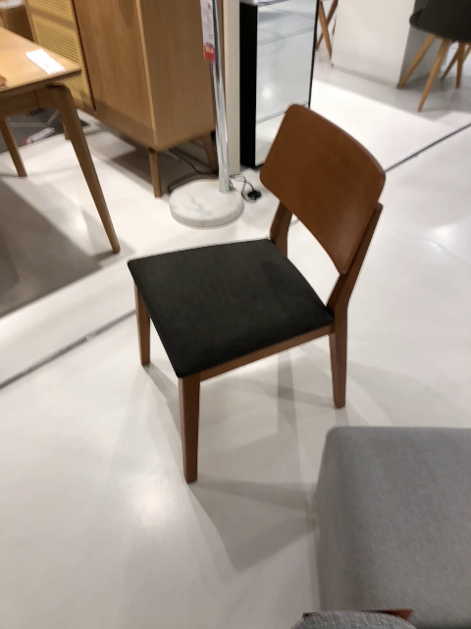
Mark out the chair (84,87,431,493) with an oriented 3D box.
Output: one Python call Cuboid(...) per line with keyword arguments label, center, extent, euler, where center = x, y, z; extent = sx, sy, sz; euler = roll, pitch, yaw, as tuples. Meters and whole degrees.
Cuboid(label="chair", center=(0.017, -0.063, 1.375), extent=(0.581, 0.804, 0.533), euler=(-15, 44, -15))
